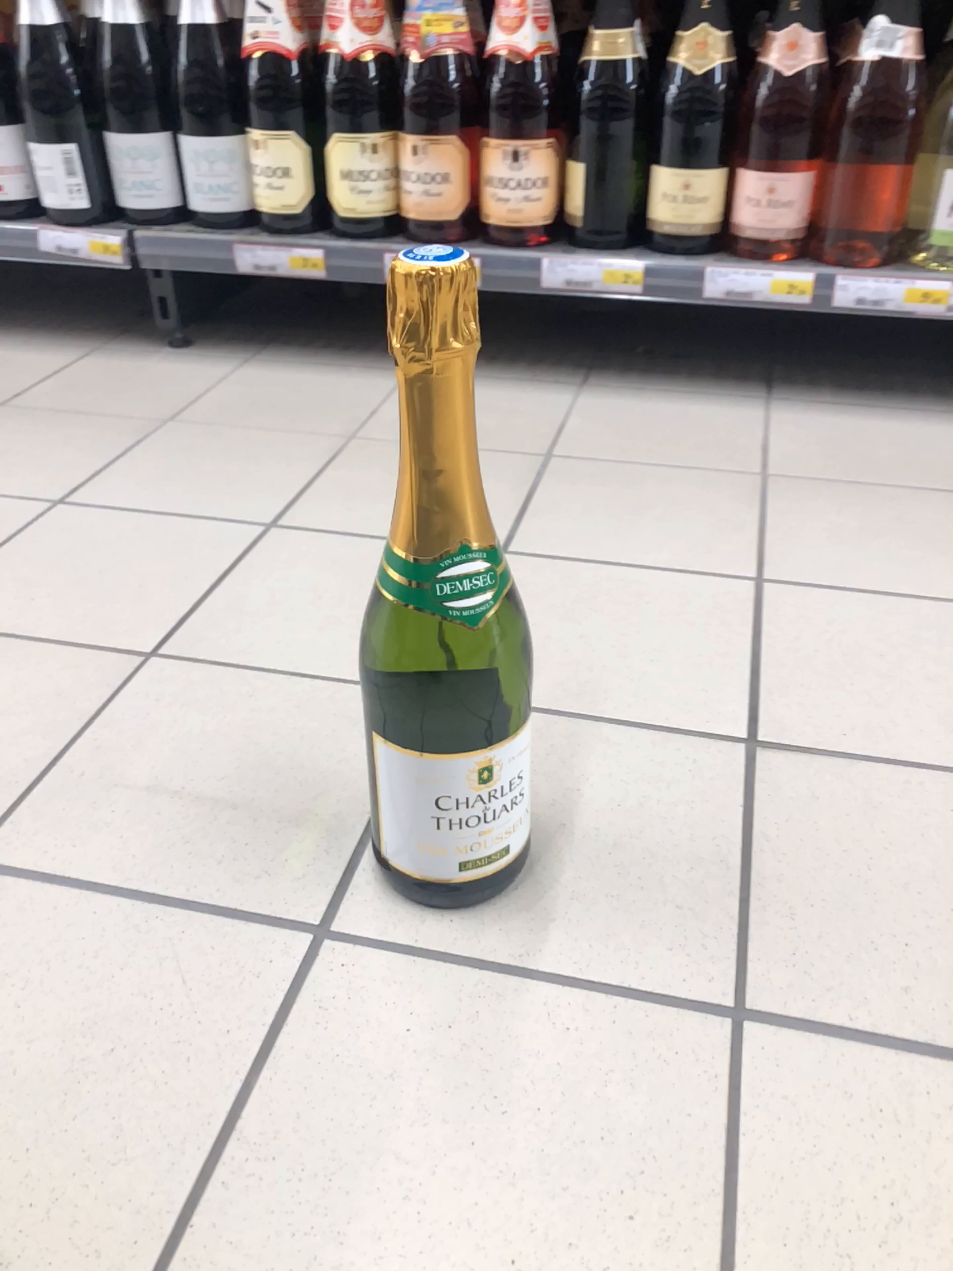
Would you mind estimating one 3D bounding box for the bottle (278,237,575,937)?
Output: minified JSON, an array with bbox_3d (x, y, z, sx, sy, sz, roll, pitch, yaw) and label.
[{"bbox_3d":[-0.022,-0.013,0.477,0.090,0.298,0.090,0,31,0],"label":"bottle"}]
